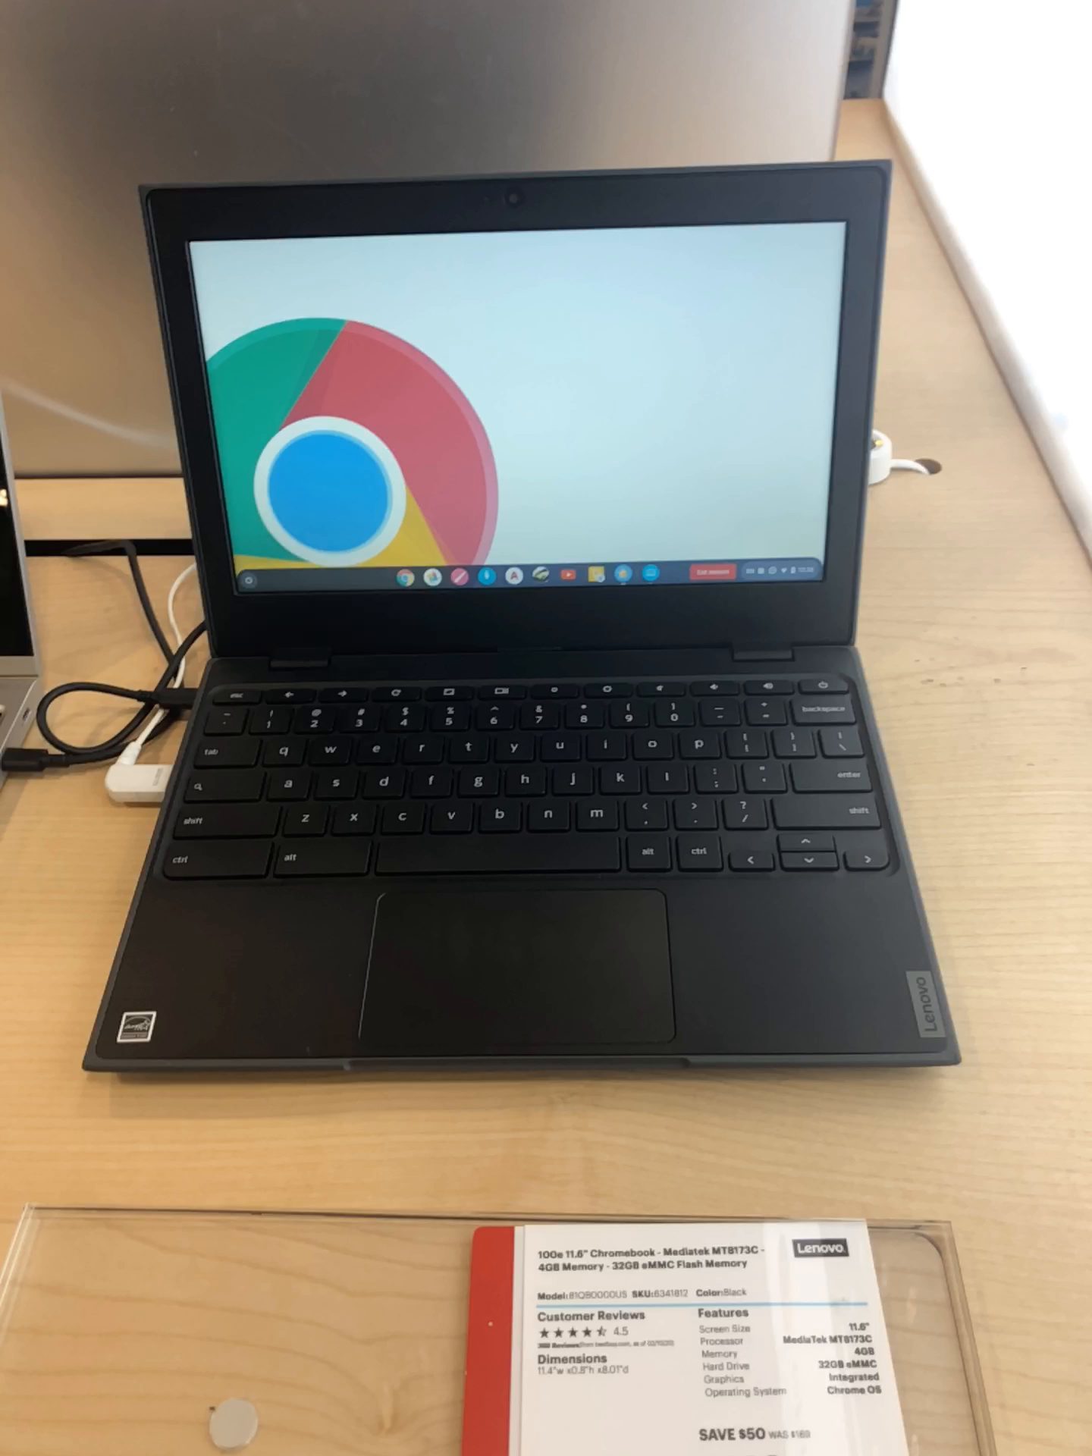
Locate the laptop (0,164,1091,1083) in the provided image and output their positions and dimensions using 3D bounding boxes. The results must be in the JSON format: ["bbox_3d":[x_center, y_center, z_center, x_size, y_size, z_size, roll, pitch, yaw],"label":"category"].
[{"bbox_3d":[-0.008,-0.049,0.428,0.281,0.178,0.272,-1,44,2],"label":"laptop"}]
